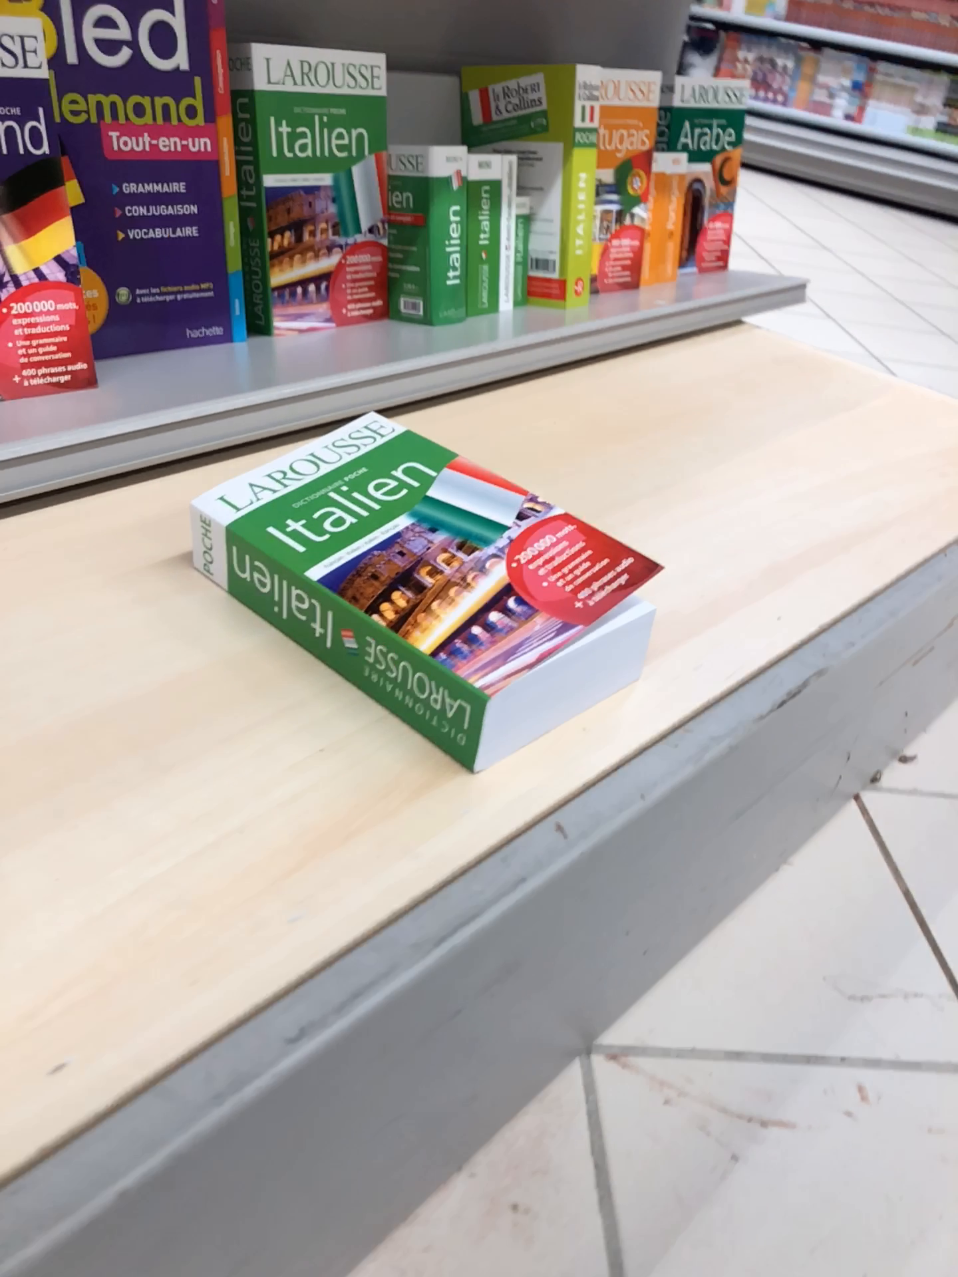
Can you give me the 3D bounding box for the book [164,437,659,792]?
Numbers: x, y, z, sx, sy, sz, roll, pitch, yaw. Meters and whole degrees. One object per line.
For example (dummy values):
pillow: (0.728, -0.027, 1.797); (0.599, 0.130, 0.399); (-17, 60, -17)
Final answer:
book: (-0.034, -0.022, 0.447); (0.183, 0.045, 0.107); (31, 37, 30)
